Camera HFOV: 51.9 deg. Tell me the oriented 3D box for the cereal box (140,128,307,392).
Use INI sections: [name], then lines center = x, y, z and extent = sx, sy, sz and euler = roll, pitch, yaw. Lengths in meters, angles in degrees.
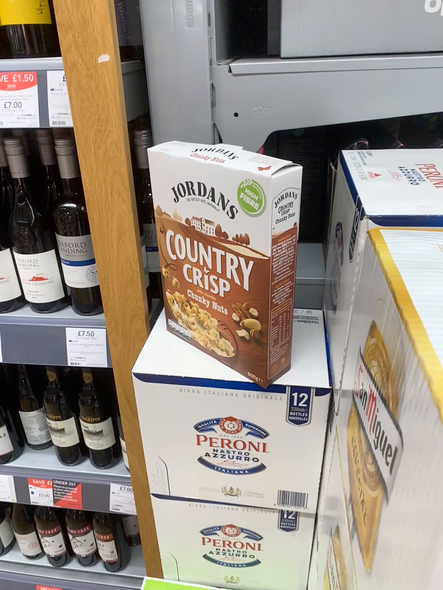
[cereal box]
center = -0.003, -0.045, 0.526
extent = 0.050, 0.258, 0.191
euler = -27, 37, -38
